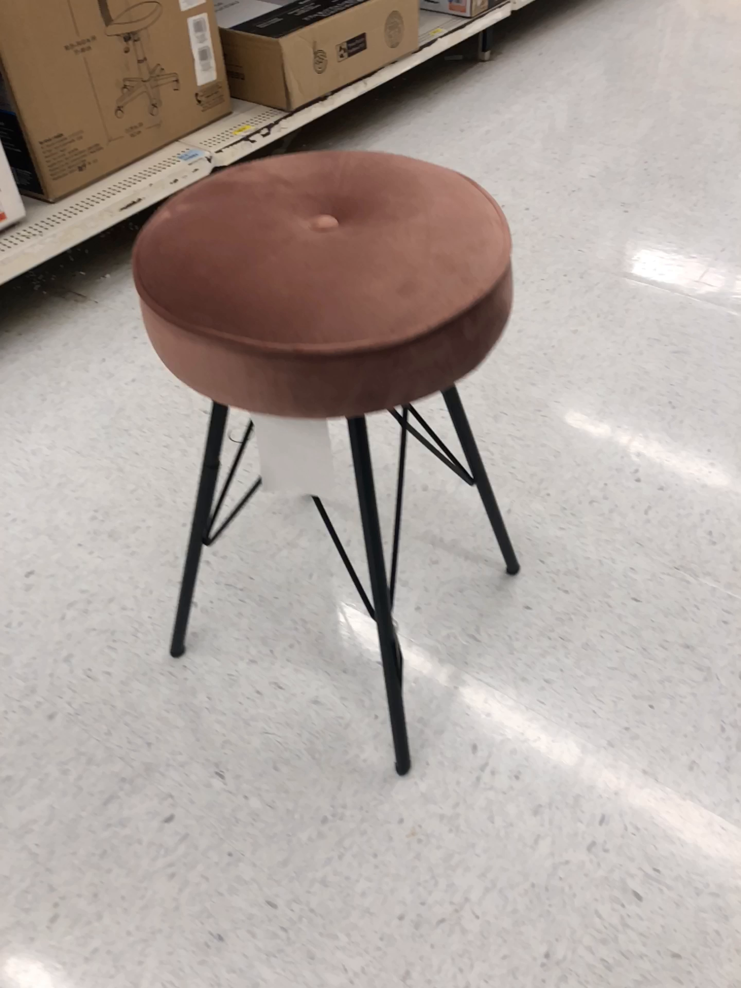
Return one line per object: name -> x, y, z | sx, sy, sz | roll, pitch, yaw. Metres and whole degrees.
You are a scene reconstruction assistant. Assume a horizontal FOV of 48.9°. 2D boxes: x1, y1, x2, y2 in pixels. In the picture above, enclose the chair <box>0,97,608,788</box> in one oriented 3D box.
chair -> -0.039, -0.051, 0.819 | 0.360, 0.499, 0.351 | 22, 50, 23
